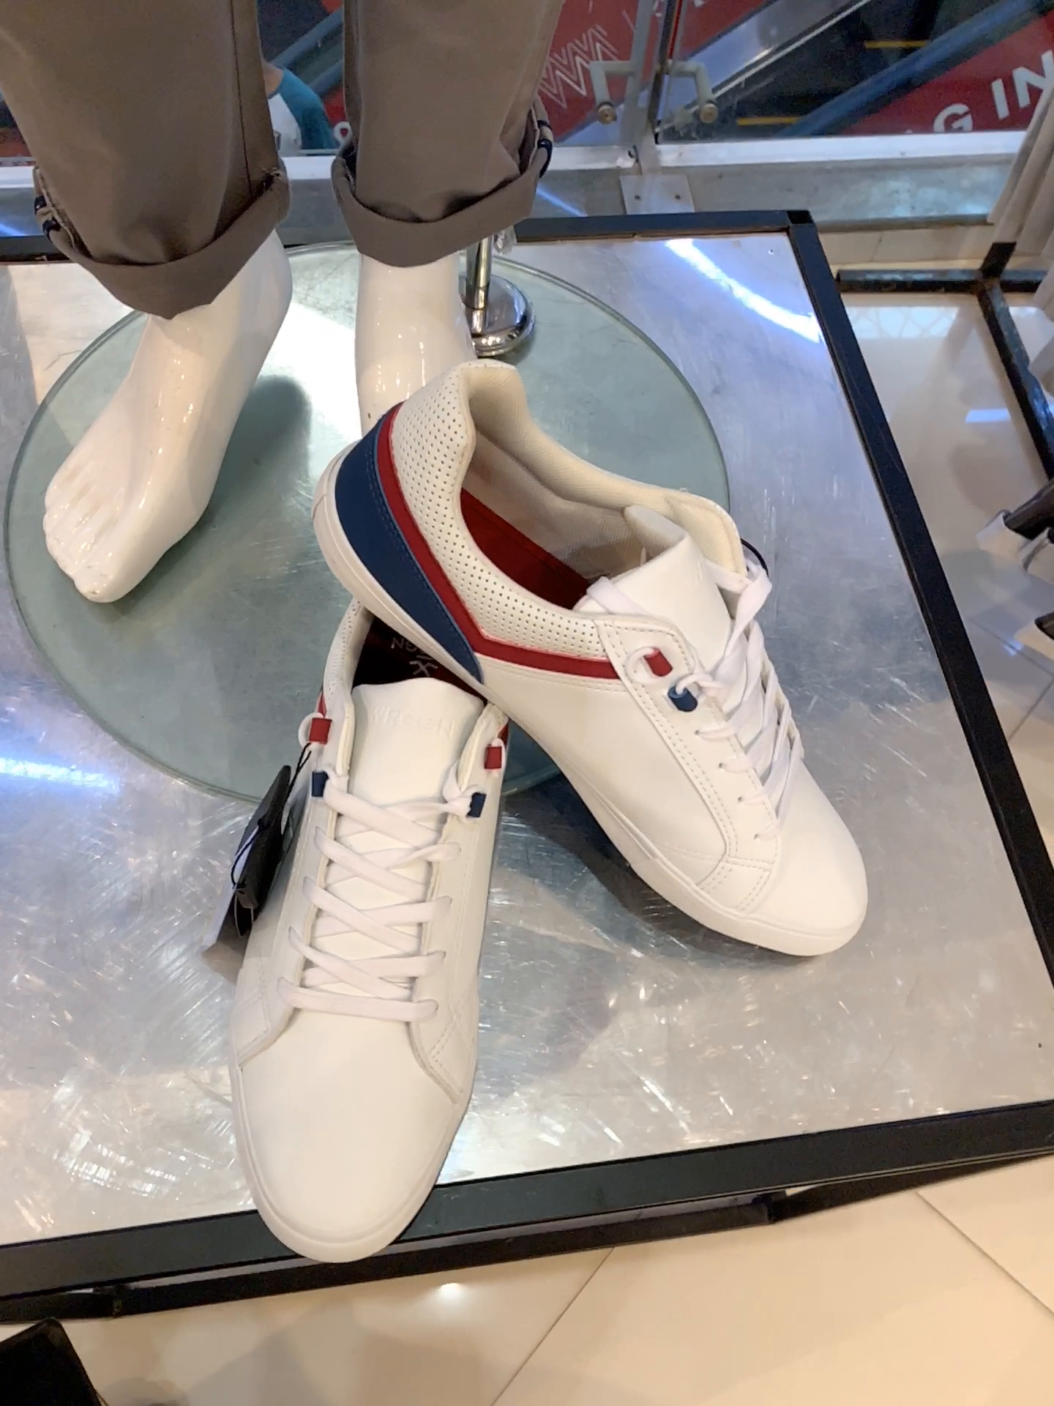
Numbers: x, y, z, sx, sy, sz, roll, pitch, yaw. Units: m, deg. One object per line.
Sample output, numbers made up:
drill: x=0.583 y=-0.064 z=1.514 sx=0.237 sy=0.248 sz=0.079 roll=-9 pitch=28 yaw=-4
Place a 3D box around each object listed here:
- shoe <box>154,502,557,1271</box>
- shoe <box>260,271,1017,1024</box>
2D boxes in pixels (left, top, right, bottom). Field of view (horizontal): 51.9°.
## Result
shoe: x=-0.061 y=0.069 z=0.448 sx=0.100 sy=0.100 sz=0.281 roll=11 pitch=63 yaw=-7
shoe: x=0.040 y=-0.016 z=0.427 sx=0.280 sy=0.100 sz=0.100 roll=45 pitch=58 yaw=-1
